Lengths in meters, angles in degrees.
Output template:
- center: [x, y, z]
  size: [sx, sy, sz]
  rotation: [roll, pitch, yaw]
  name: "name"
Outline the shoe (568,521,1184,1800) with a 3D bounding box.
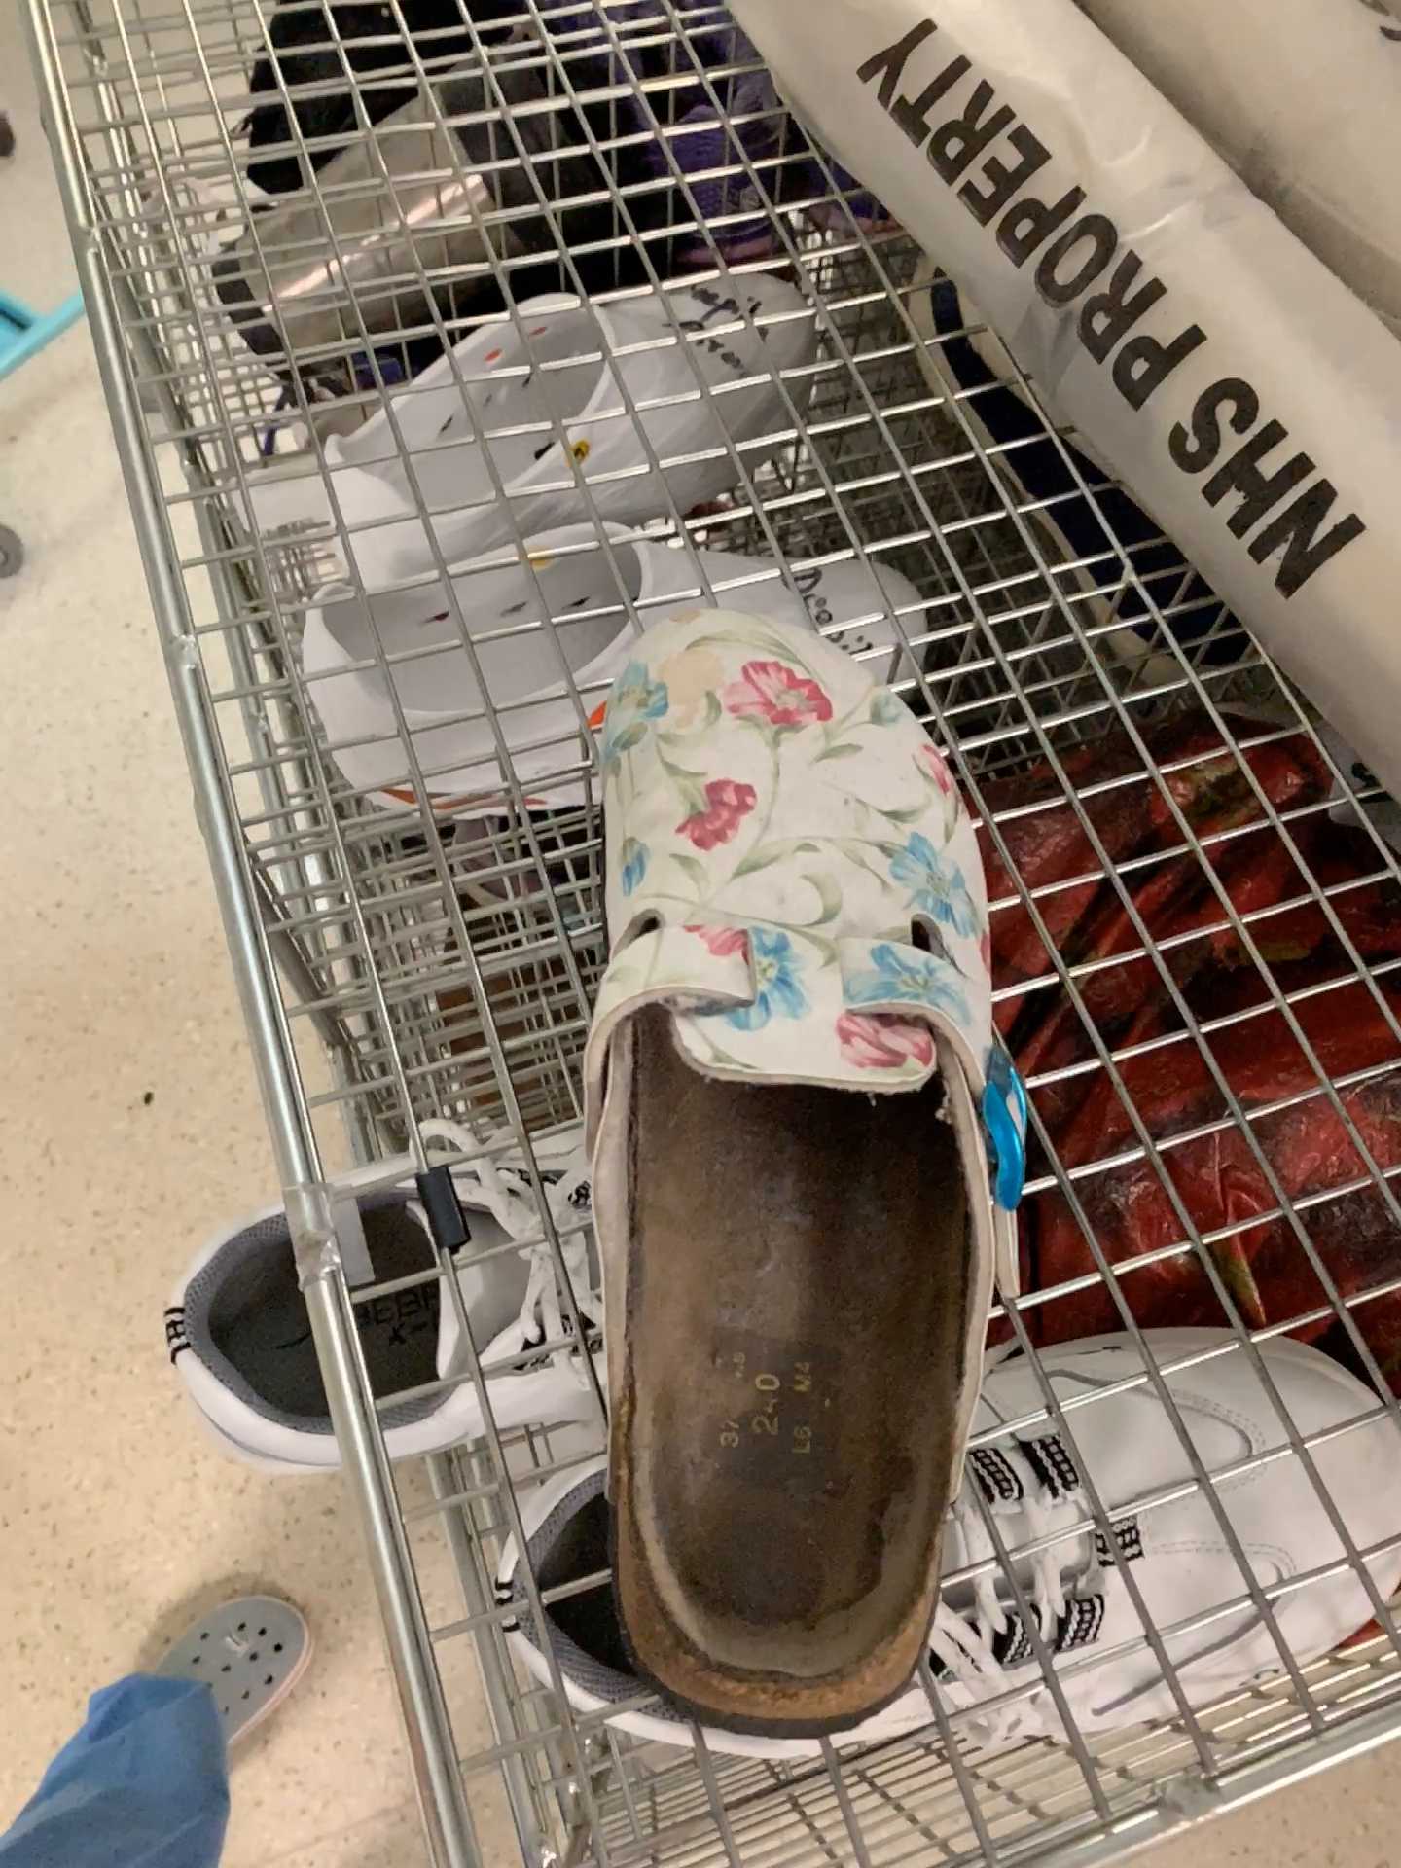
- center: [0.025, 0.034, 0.318]
  size: [0.100, 0.070, 0.260]
  rotation: [-1, 65, -2]
  name: "shoe"
